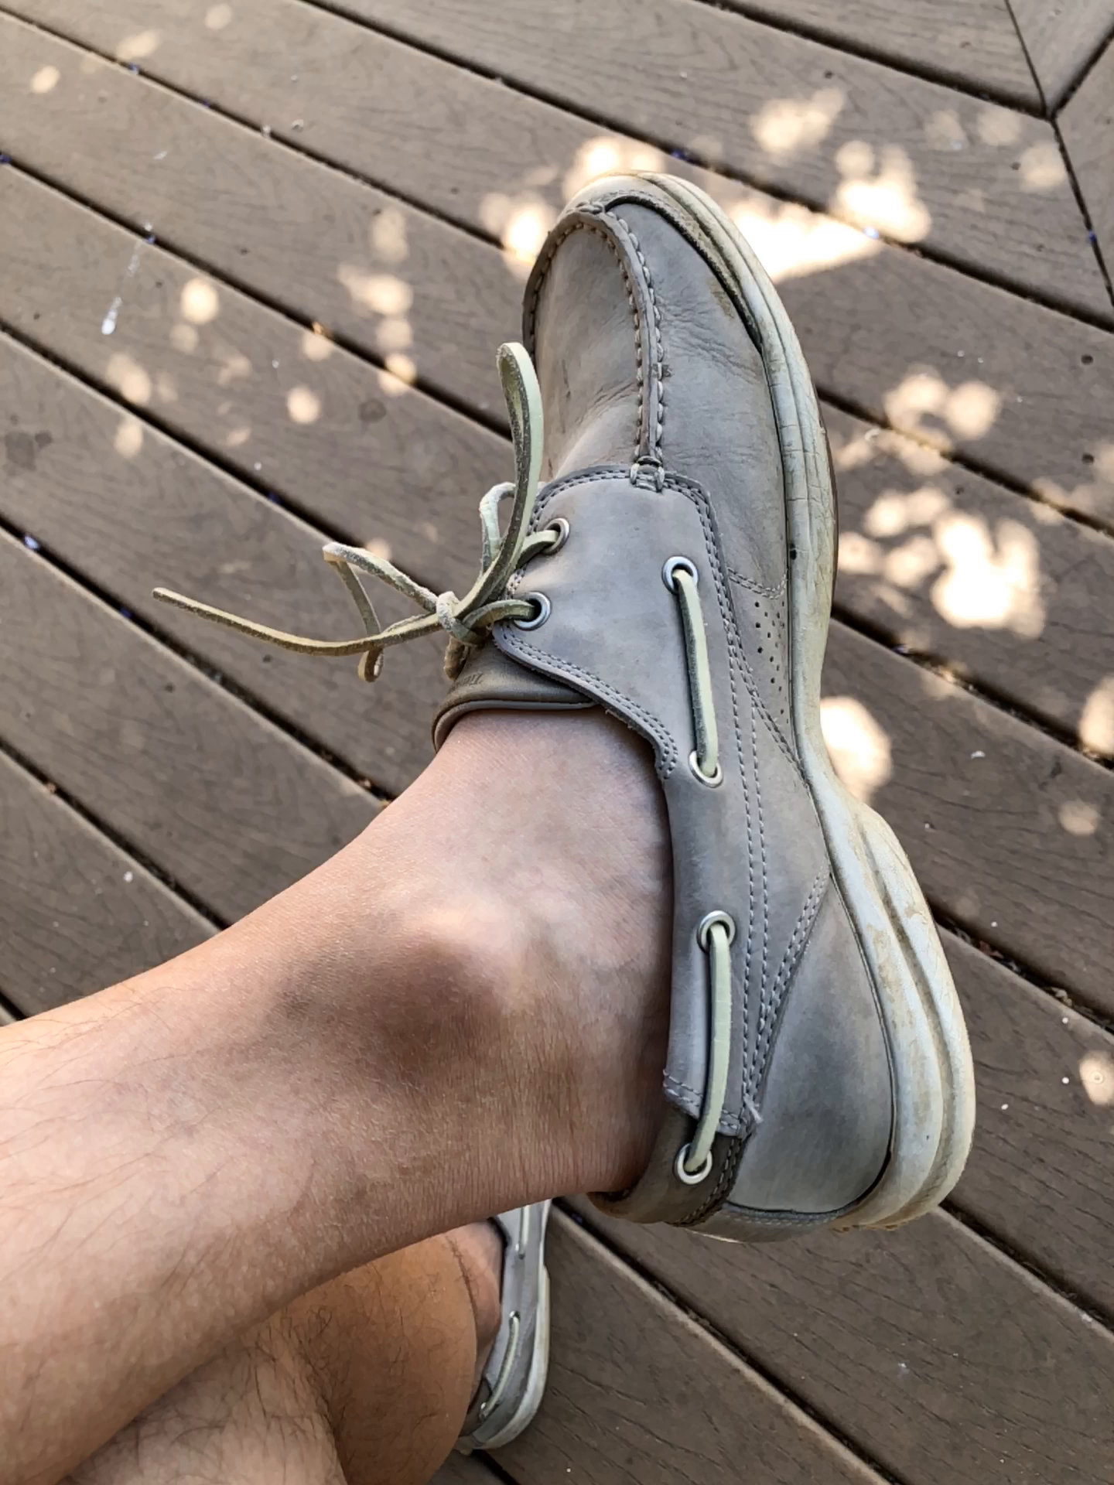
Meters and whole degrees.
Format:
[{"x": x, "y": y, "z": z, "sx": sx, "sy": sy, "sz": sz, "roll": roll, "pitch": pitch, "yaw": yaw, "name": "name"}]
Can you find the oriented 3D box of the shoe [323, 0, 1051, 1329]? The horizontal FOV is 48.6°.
[{"x": 0.015, "y": -0.024, "z": 0.327, "sx": 0.106, "sy": 0.113, "sz": 0.303, "roll": 3, "pitch": 70, "yaw": -29, "name": "shoe"}]
